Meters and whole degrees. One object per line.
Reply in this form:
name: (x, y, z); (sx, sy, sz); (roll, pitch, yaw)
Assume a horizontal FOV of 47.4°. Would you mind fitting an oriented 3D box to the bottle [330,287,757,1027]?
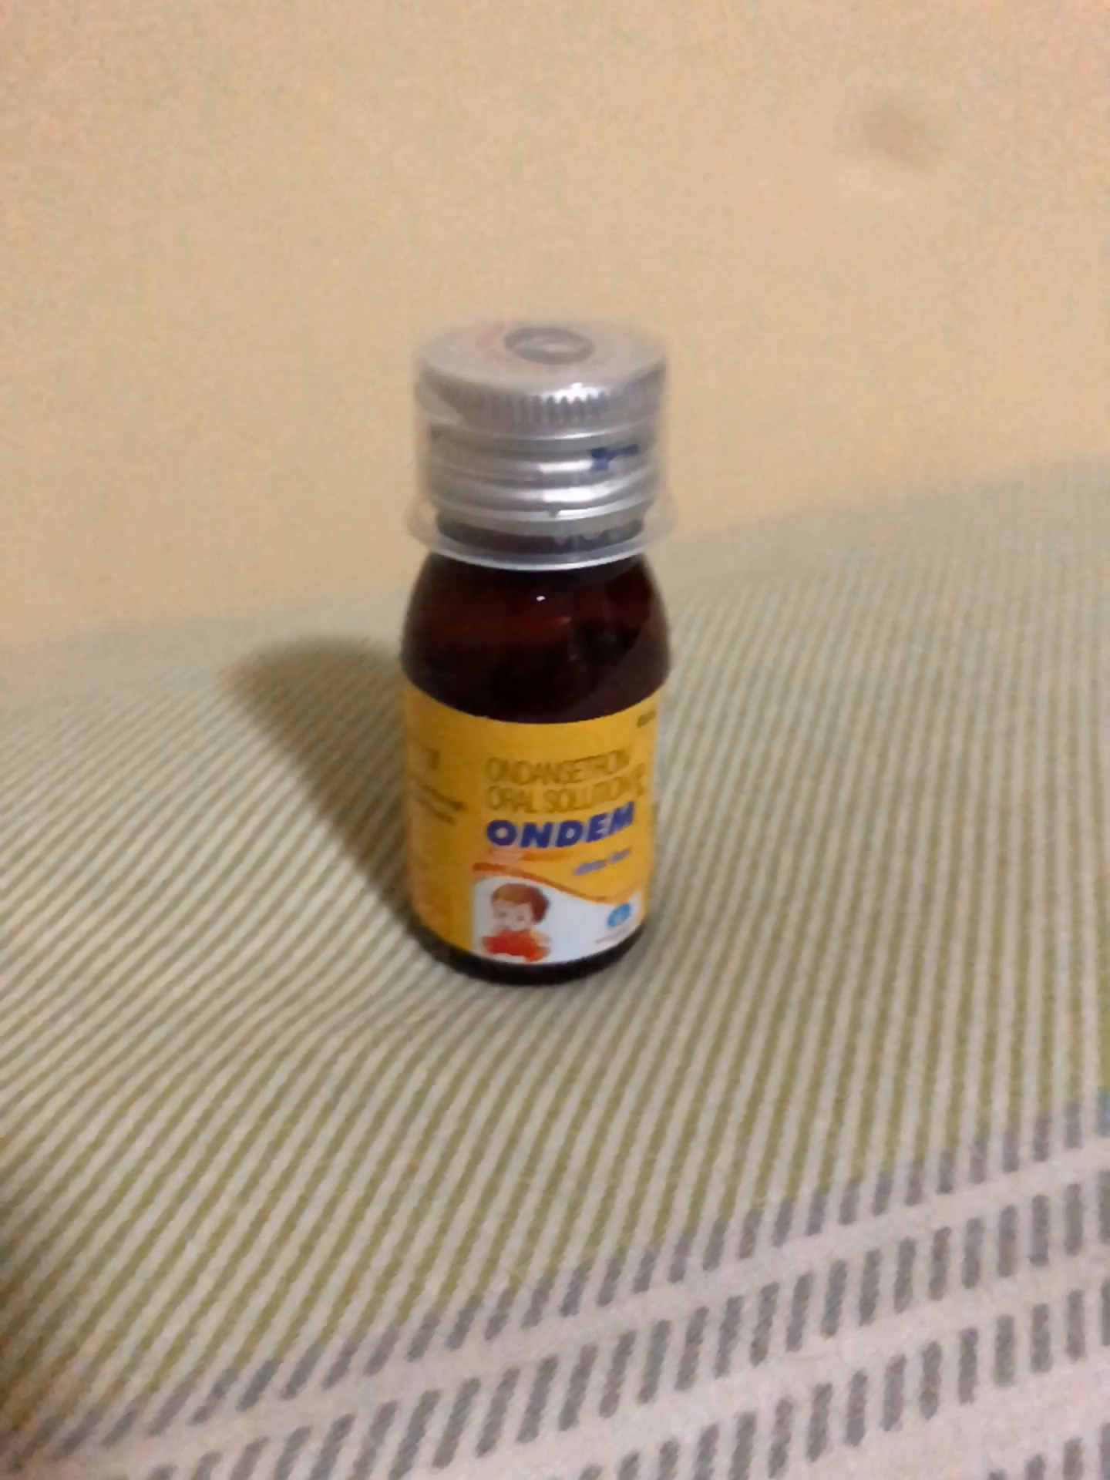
bottle: (-0.004, -0.010, 0.155); (0.040, 0.080, 0.040); (1, 32, -1)
